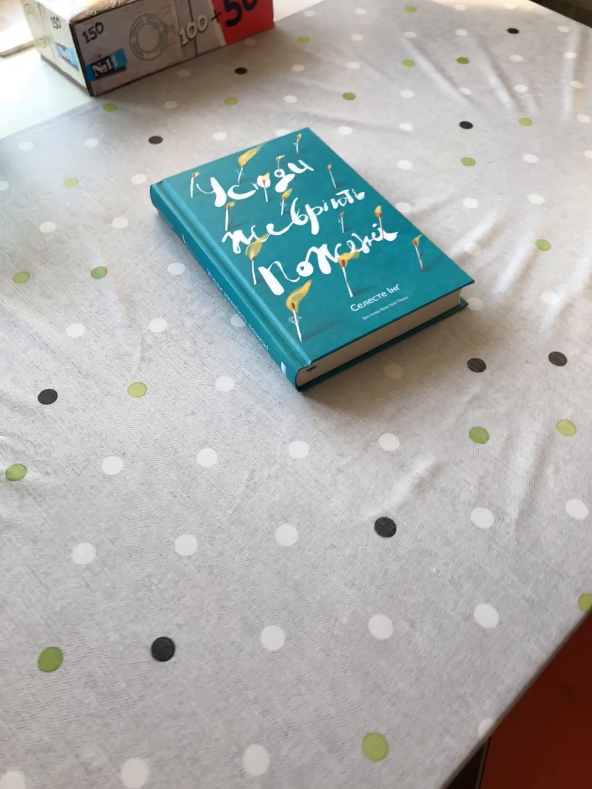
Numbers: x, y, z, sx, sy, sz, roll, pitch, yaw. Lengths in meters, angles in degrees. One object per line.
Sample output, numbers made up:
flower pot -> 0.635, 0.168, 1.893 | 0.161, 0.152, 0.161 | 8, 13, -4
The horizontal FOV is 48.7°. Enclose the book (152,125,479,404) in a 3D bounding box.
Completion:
book -> 0.007, -0.110, 0.490 | 0.144, 0.040, 0.214 | -27, 59, -19
